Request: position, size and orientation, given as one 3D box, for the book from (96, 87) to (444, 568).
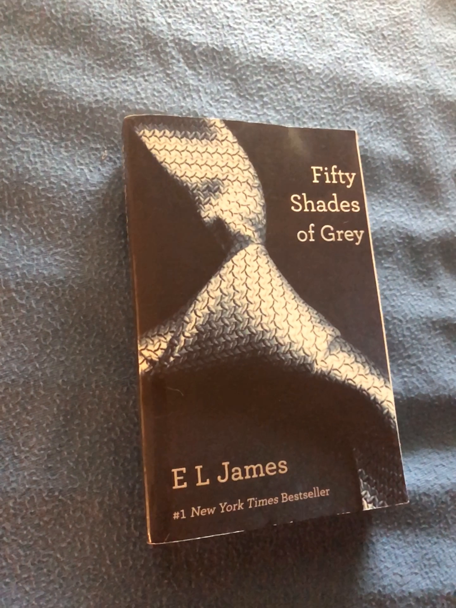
[{"bbox_3d":[0.015,0.002,0.258,0.150,0.040,0.210,-2,79,-16],"label":"book"}]
